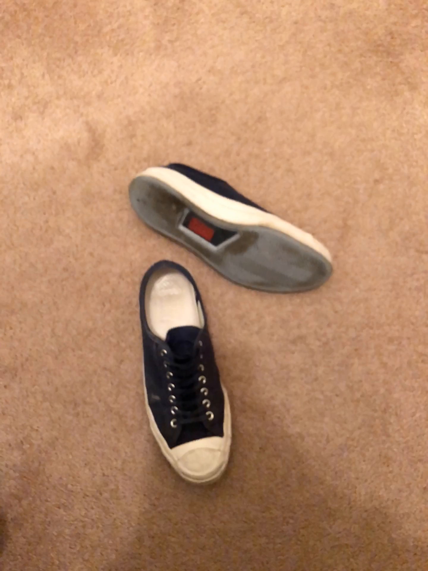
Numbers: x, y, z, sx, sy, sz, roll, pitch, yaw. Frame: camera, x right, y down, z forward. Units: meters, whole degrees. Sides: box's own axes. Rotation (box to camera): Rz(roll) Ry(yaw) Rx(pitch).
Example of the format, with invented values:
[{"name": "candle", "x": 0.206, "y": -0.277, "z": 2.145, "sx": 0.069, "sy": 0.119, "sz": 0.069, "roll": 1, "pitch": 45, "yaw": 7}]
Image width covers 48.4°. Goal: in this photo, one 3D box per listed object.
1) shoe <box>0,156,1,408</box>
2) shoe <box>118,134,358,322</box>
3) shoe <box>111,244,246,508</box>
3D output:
[{"name": "shoe", "x": -0.400, "y": -0.002, "z": 0.621, "sx": 0.106, "sy": 0.099, "sz": 0.296, "roll": -25, "pitch": 77, "yaw": -4}, {"name": "shoe", "x": 0.026, "y": -0.079, "z": 0.648, "sx": 0.296, "sy": 0.104, "sz": 0.099, "roll": 26, "pitch": 53, "yaw": 6}, {"name": "shoe", "x": -0.043, "y": 0.107, "z": 0.602, "sx": 0.116, "sy": 0.099, "sz": 0.286, "roll": -10, "pitch": 79, "yaw": 1}]
